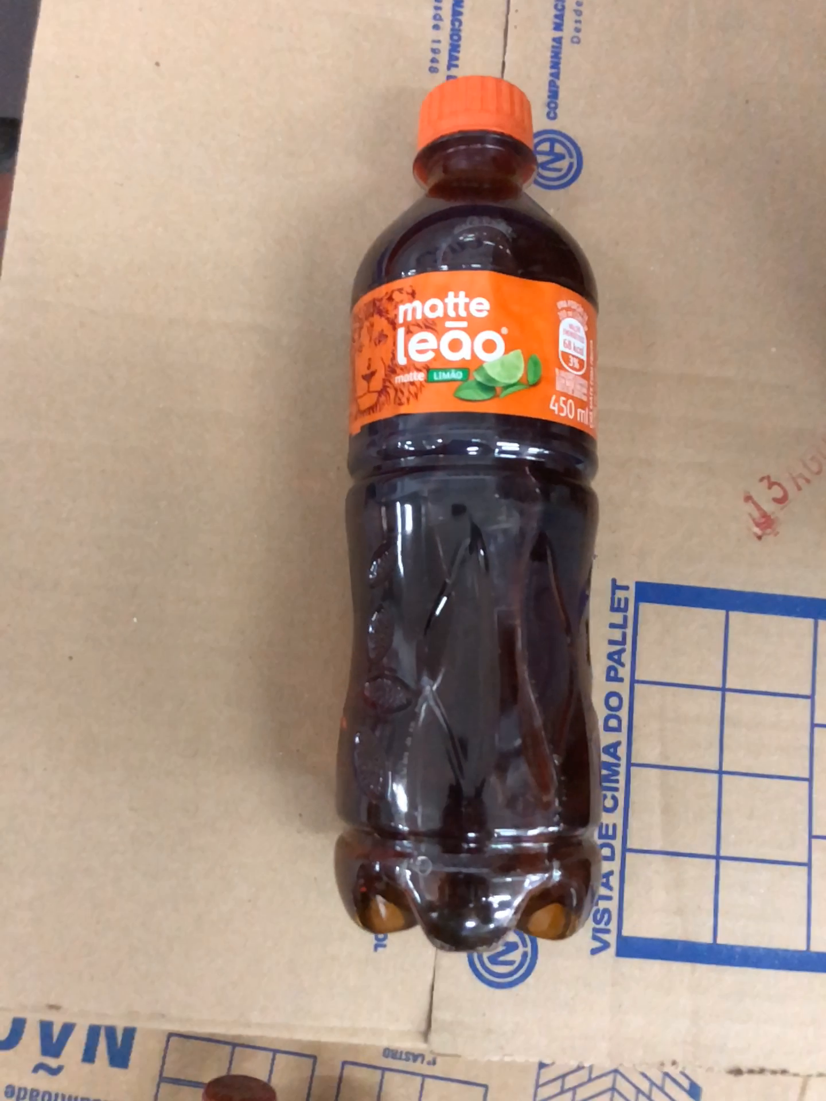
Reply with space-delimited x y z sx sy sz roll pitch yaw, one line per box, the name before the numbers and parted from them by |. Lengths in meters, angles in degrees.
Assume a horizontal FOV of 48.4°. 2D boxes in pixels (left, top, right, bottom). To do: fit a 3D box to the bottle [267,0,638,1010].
bottle | 0.007 -0.020 0.215 0.070 0.060 0.220 1 83 -3
